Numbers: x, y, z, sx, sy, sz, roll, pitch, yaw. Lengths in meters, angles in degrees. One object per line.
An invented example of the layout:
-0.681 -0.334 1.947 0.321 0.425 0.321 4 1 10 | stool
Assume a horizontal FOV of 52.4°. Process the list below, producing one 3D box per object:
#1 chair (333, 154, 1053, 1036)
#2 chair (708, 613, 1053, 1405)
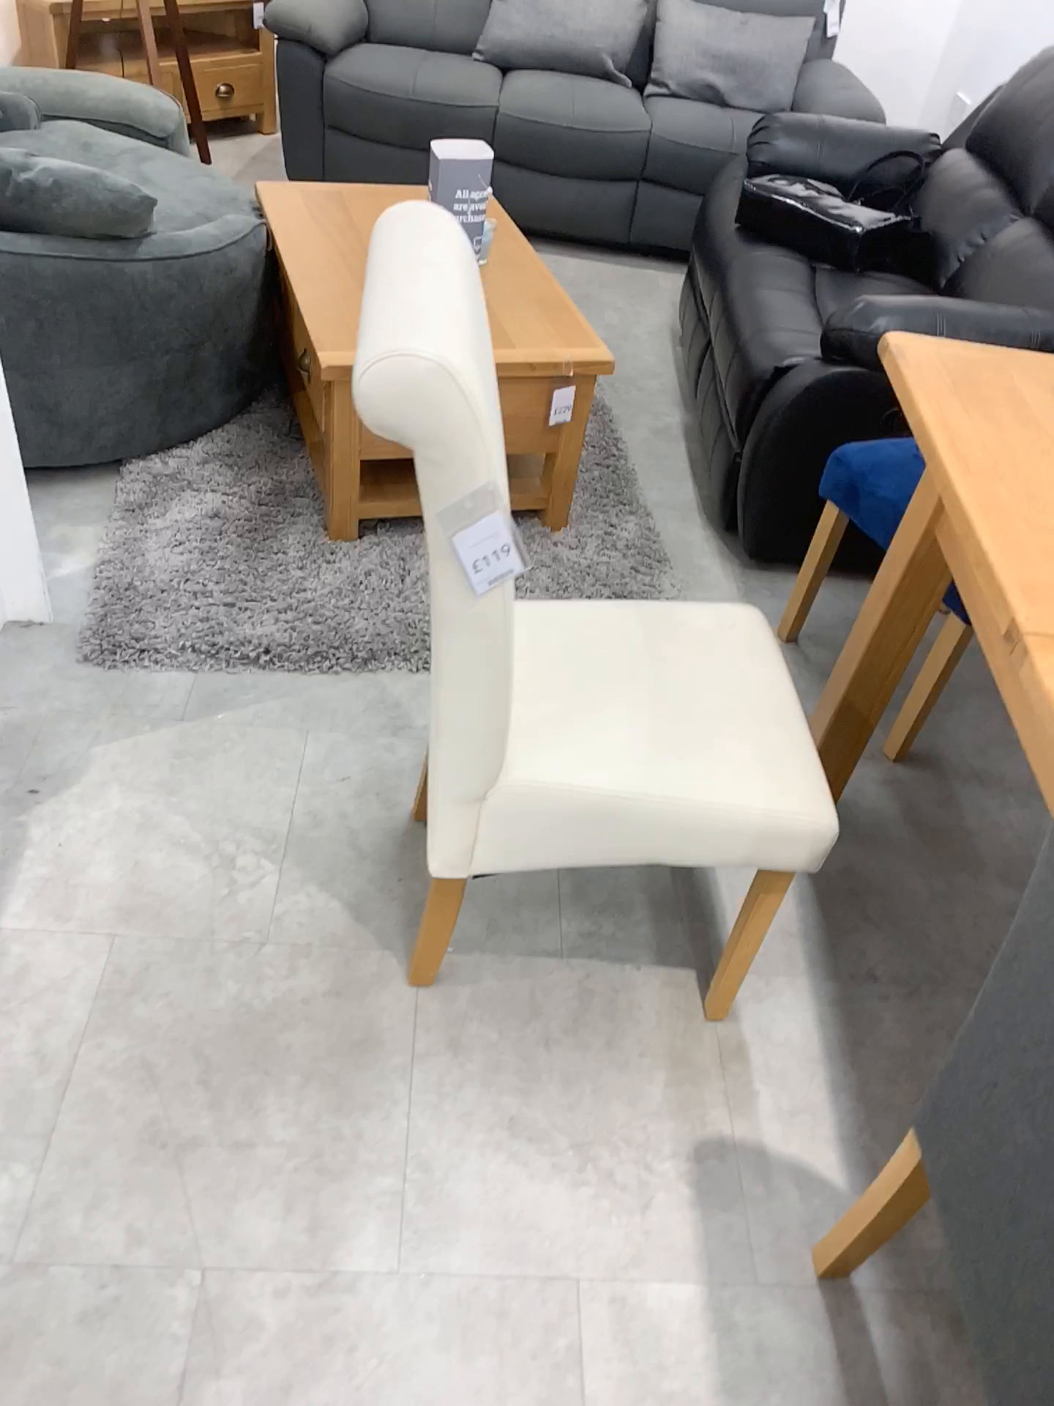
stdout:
0.082 -0.066 1.337 0.591 0.935 0.518 3 43 -8 | chair
0.585 0.457 0.941 0.581 0.905 0.488 6 43 -5 | chair
